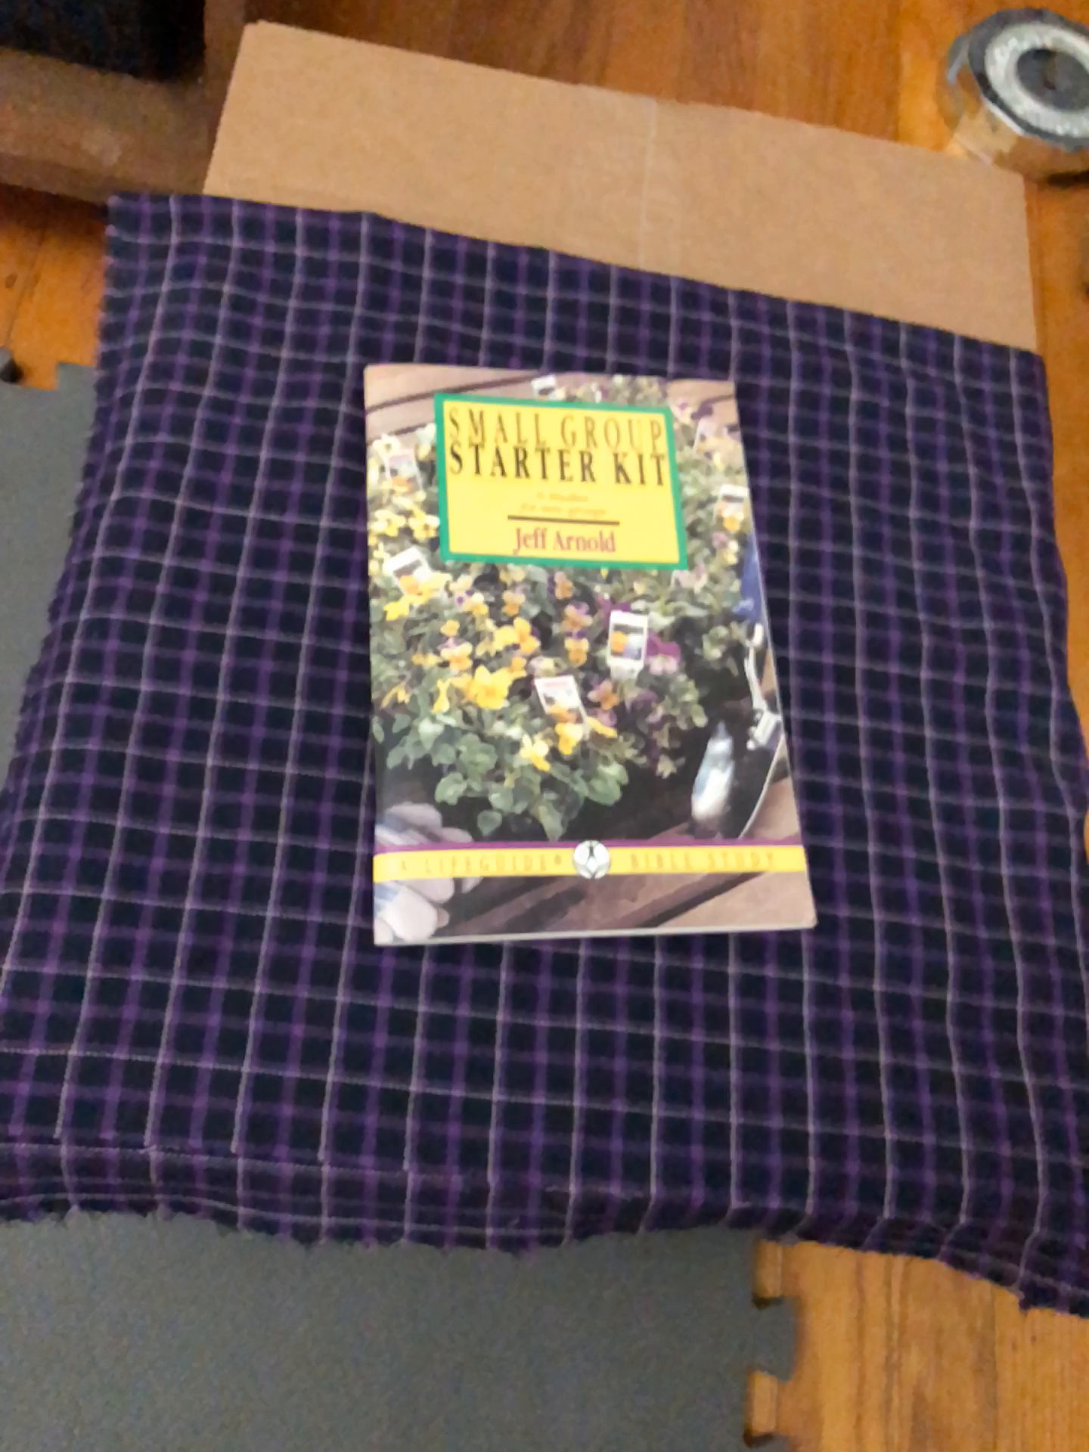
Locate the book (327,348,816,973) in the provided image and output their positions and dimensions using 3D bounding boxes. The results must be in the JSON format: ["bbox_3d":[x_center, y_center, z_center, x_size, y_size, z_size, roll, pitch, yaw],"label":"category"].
[{"bbox_3d":[0.003,-0.031,0.409,0.150,0.010,0.221,0,69,-10],"label":"book"}]
